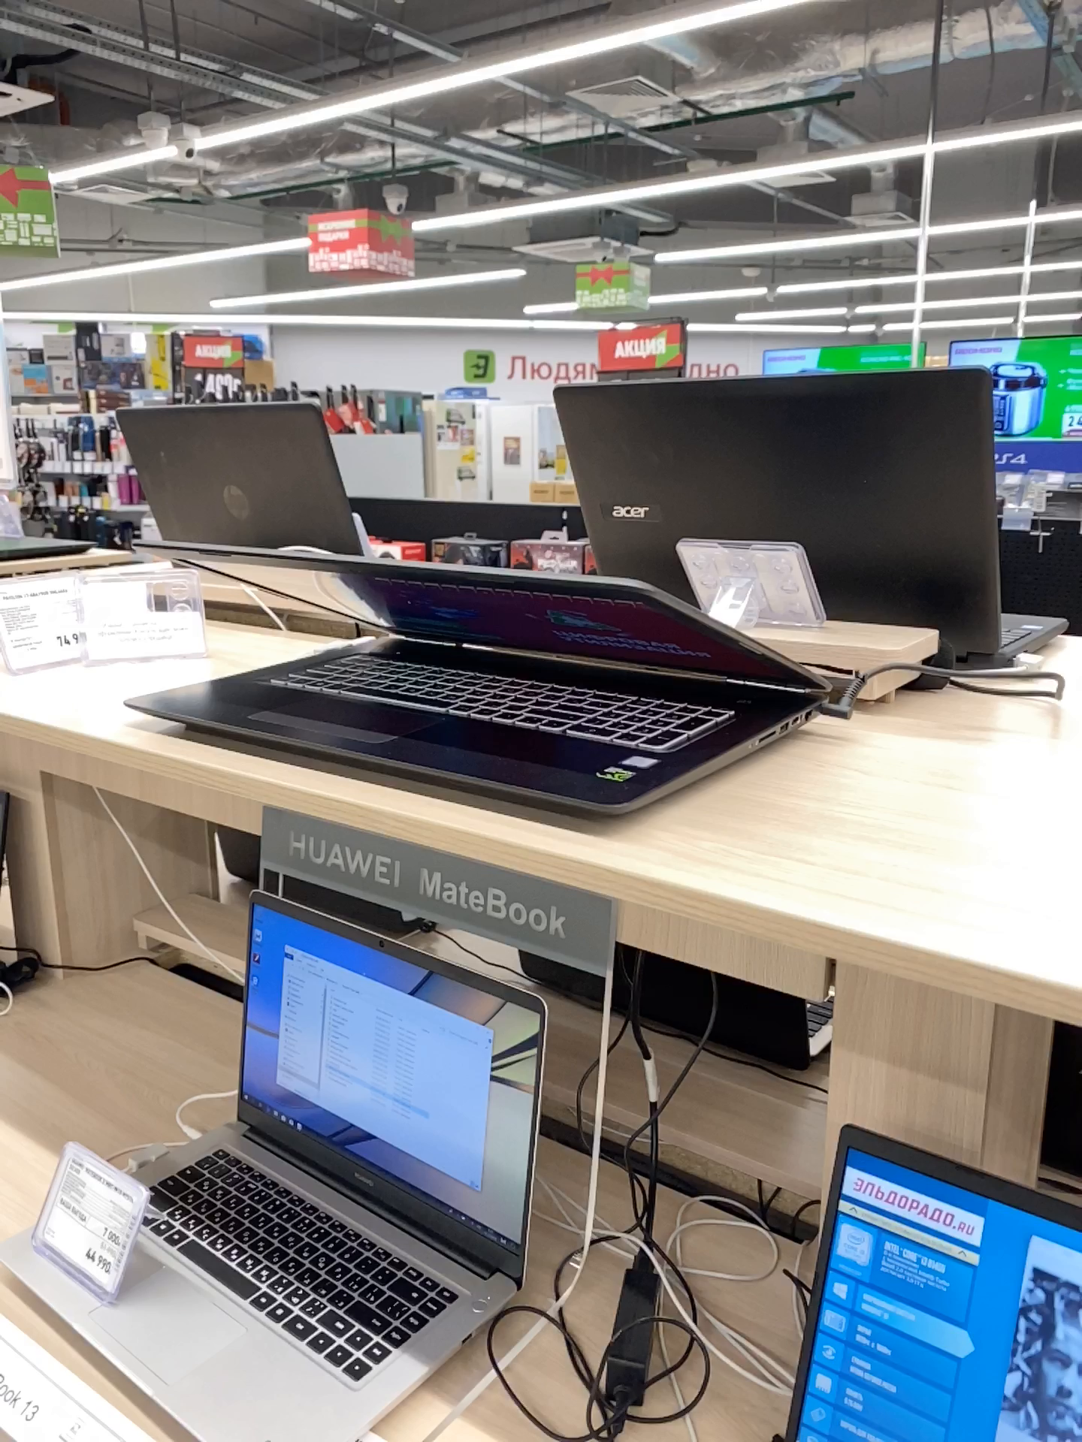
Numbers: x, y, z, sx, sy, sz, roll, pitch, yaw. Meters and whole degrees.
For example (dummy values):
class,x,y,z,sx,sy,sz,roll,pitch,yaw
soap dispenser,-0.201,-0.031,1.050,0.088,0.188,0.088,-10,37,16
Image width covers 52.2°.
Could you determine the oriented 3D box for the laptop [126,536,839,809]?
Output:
class,x,y,z,sx,sy,sz,roll,pitch,yaw
laptop,-0.046,-0.060,0.765,0.414,0.095,0.269,9,18,36
